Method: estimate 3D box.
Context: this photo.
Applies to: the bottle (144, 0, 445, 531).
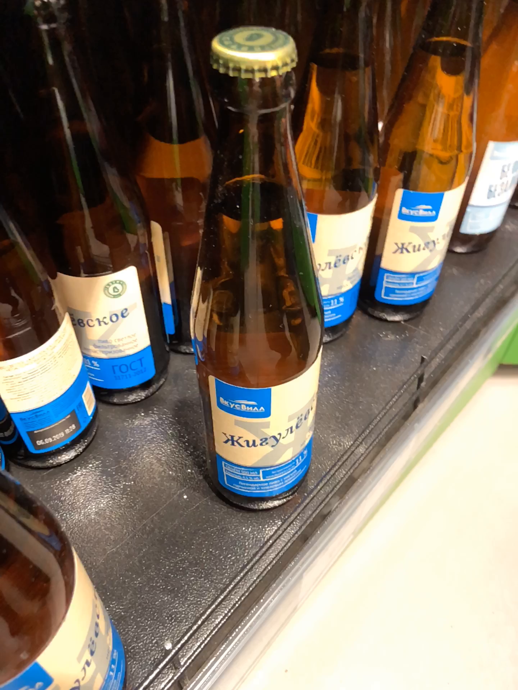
[{"bbox_3d":[0.006,-0.012,0.274,0.070,0.249,0.070,1,47,-1],"label":"bottle"}]
